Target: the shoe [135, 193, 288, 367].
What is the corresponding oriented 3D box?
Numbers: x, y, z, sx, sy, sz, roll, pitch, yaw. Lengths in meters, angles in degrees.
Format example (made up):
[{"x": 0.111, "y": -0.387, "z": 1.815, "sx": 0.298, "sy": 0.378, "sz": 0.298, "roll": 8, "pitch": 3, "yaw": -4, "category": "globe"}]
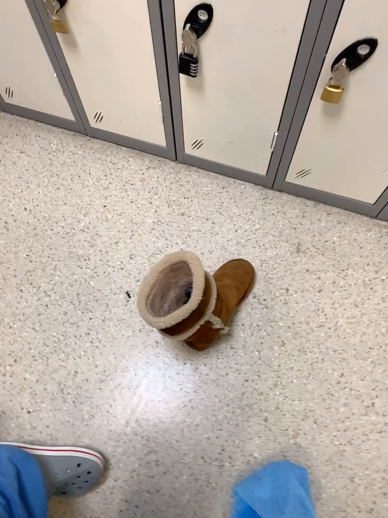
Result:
[{"x": 0.044, "y": 0.059, "z": 0.914, "sx": 0.158, "sy": 0.245, "sz": 0.306, "roll": 35, "pitch": 72, "yaw": 15, "category": "shoe"}]
